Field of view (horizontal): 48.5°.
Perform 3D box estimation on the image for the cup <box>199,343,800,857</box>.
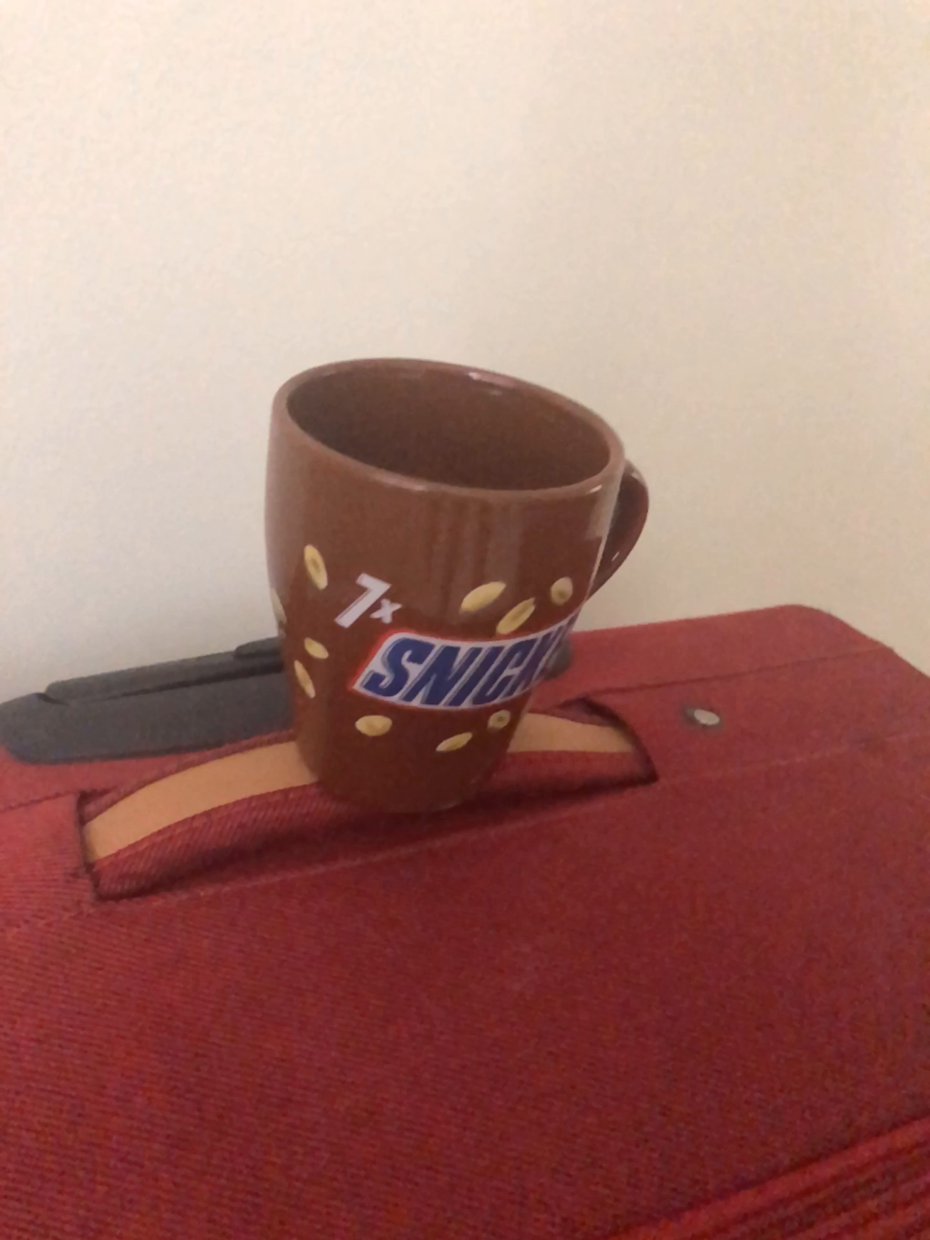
[{"bbox_3d":[0.002,-0.014,0.264,0.115,0.080,0.088,-12,37,-27],"label":"cup"}]
